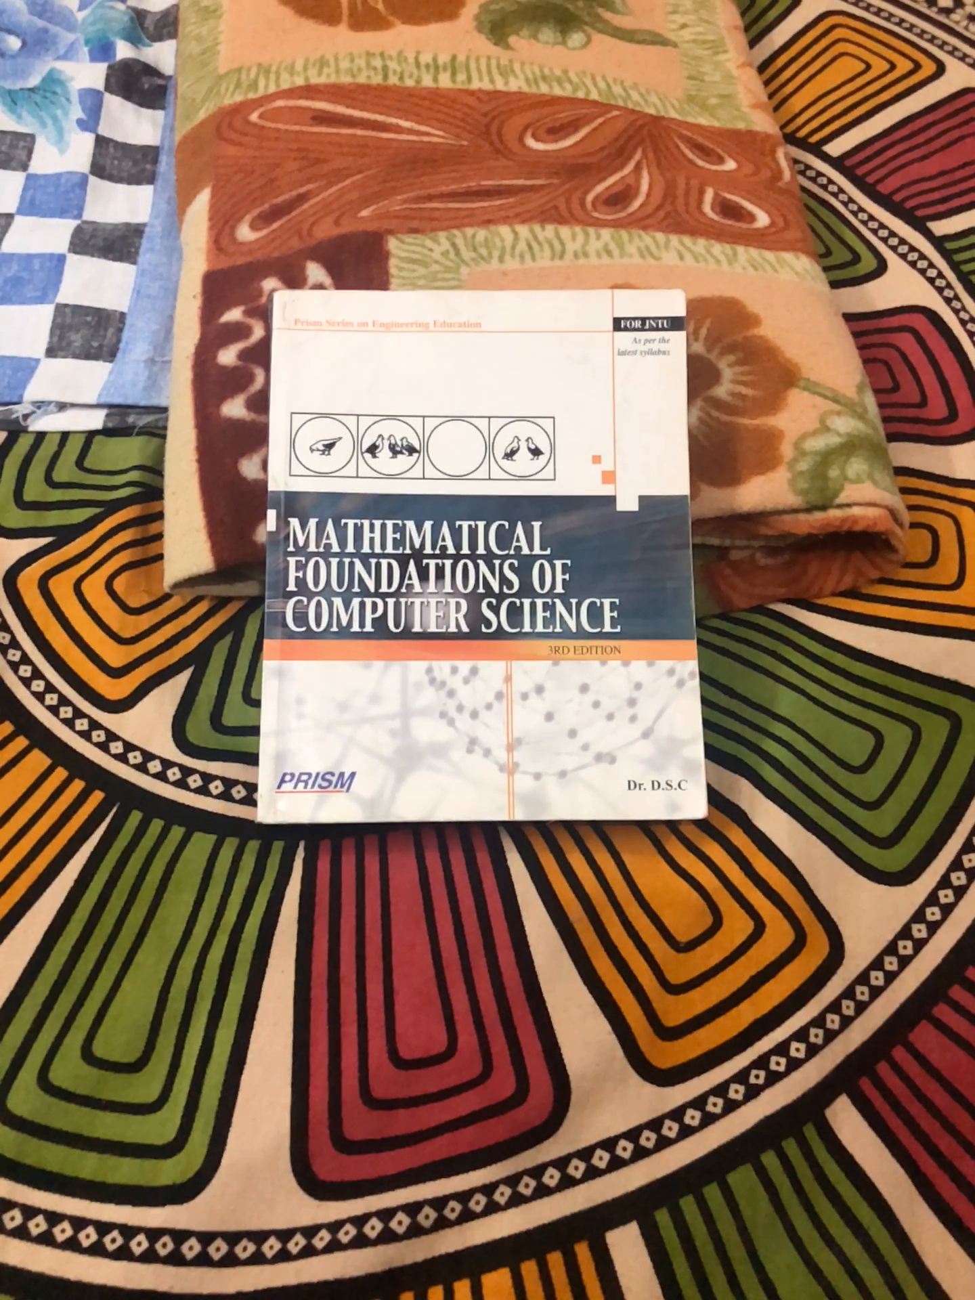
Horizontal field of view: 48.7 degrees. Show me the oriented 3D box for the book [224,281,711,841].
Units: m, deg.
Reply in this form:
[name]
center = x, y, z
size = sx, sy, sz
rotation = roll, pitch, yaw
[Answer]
[book]
center = -0.010, -0.037, 0.463
size = 0.190, 0.050, 0.230
rotation = 0, 81, -4
